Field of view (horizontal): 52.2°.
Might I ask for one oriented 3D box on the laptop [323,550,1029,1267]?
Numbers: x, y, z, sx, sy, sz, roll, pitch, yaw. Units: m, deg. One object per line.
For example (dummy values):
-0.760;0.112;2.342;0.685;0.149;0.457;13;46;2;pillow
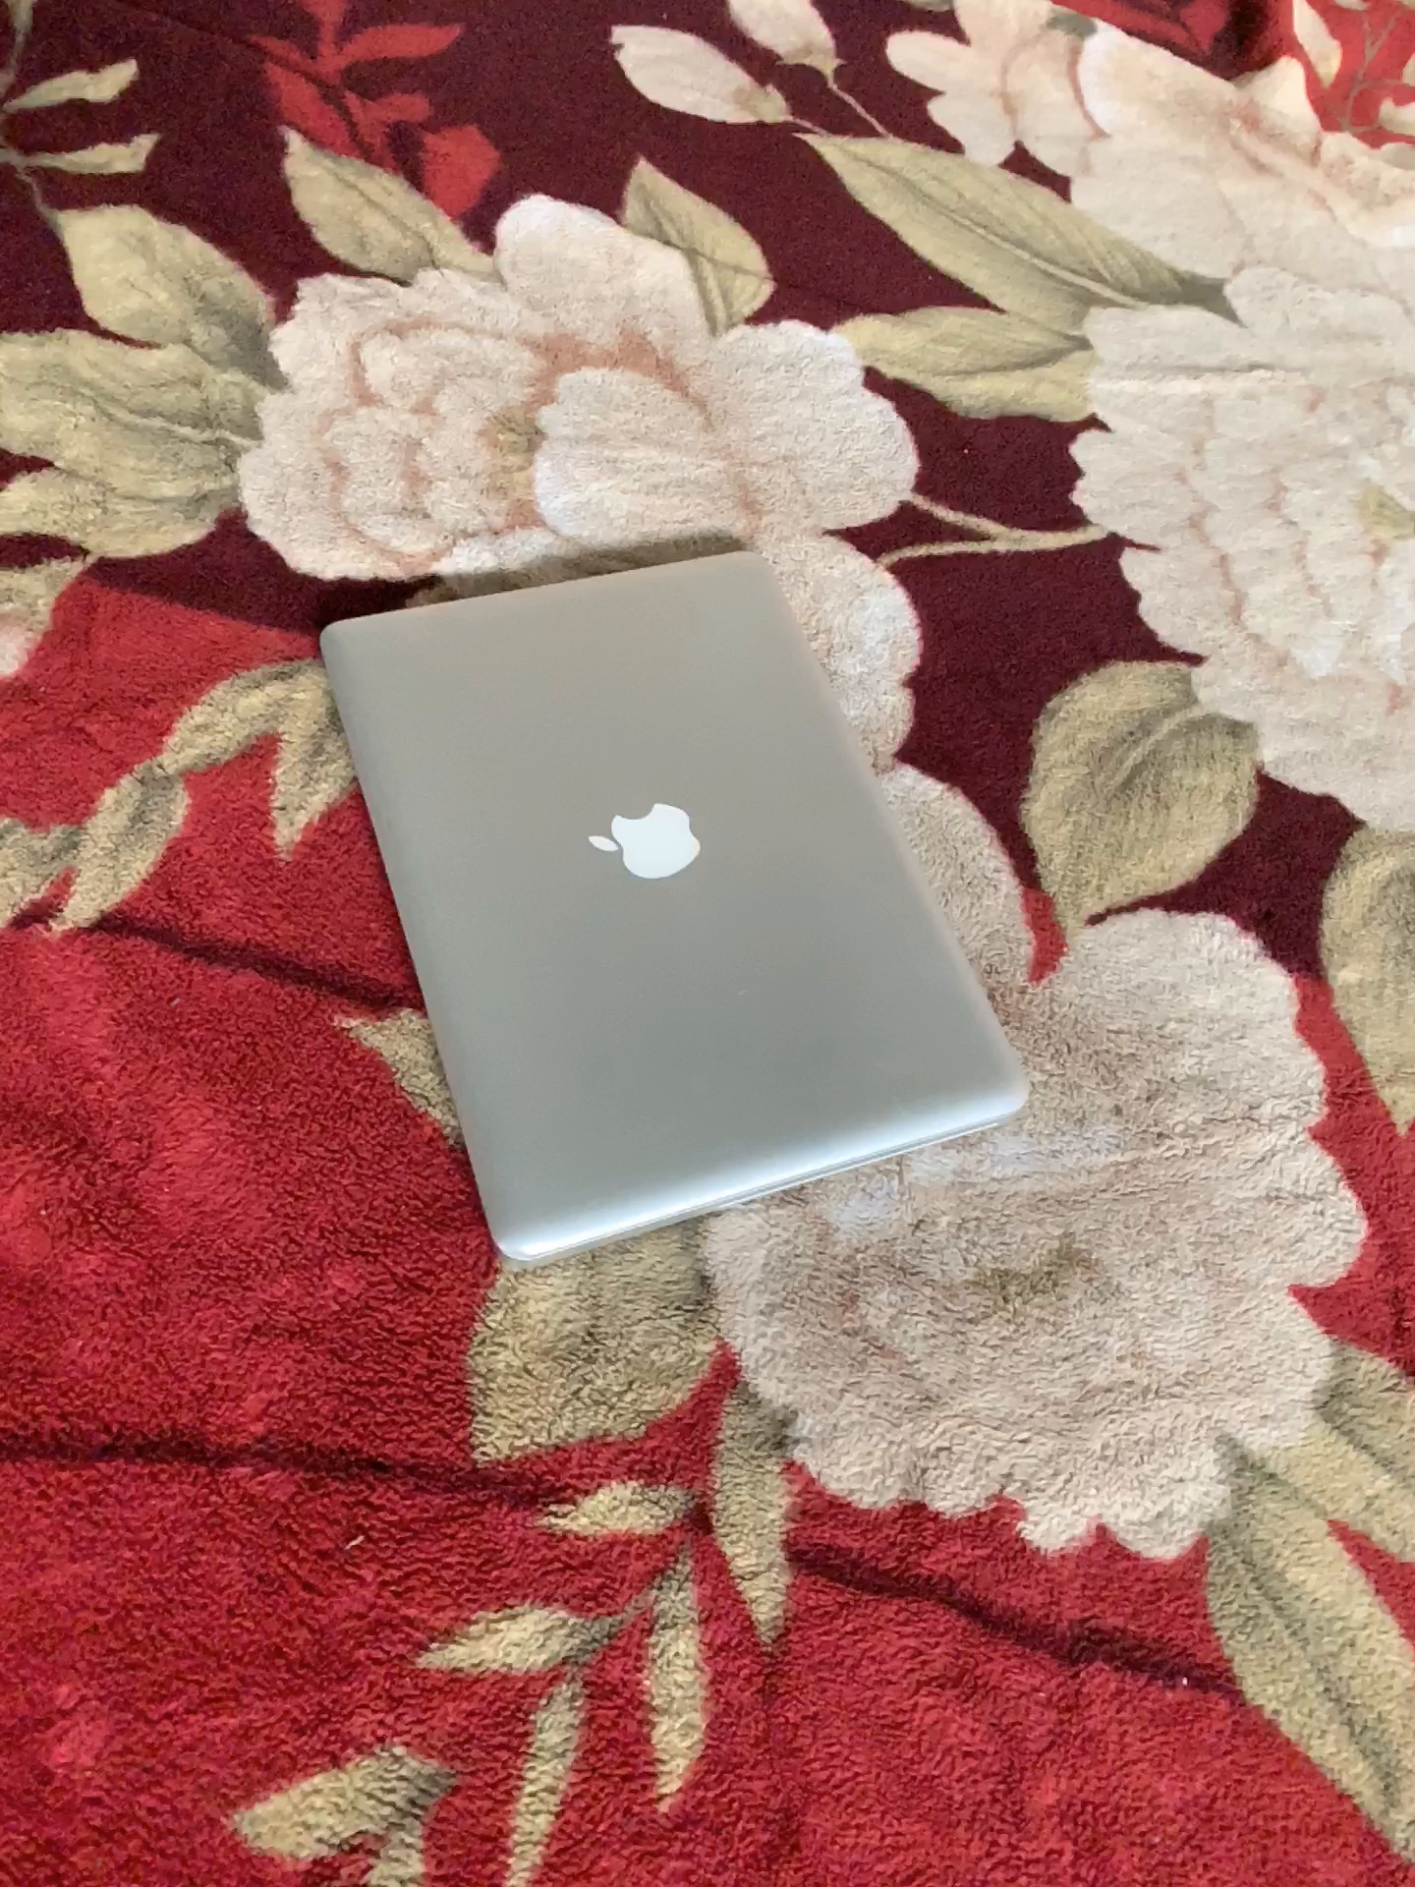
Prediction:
-0.024;-0.039;0.612;0.209;0.001;0.310;-15;62;-14;laptop
